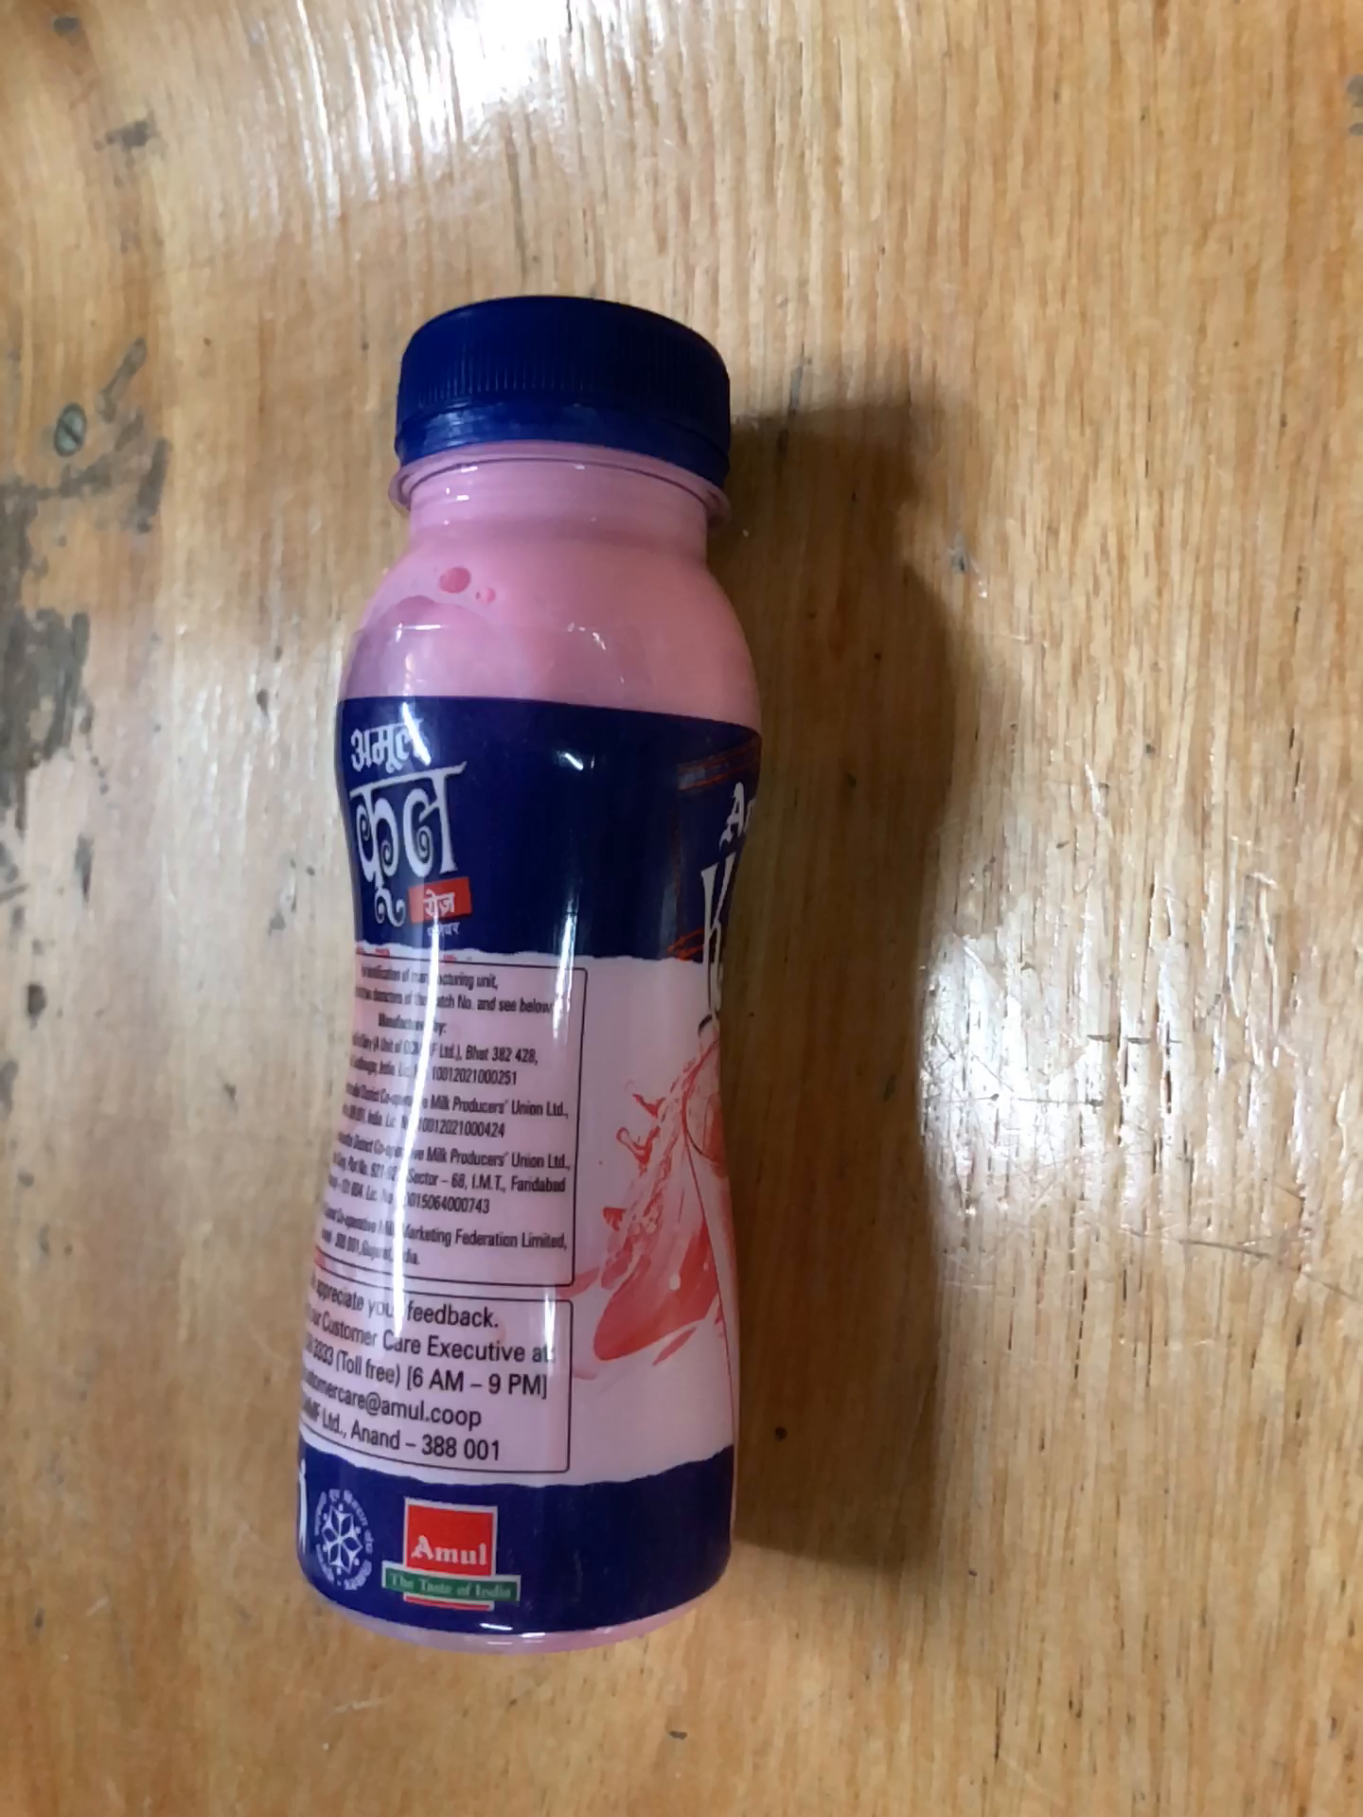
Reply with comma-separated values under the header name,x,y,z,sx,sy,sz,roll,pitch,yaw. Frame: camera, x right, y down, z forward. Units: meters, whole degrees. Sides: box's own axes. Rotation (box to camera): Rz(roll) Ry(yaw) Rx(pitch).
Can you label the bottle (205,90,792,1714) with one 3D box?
name,x,y,z,sx,sy,sz,roll,pitch,yaw
bottle,-0.020,-0.001,0.173,0.050,0.040,0.150,0,89,35
